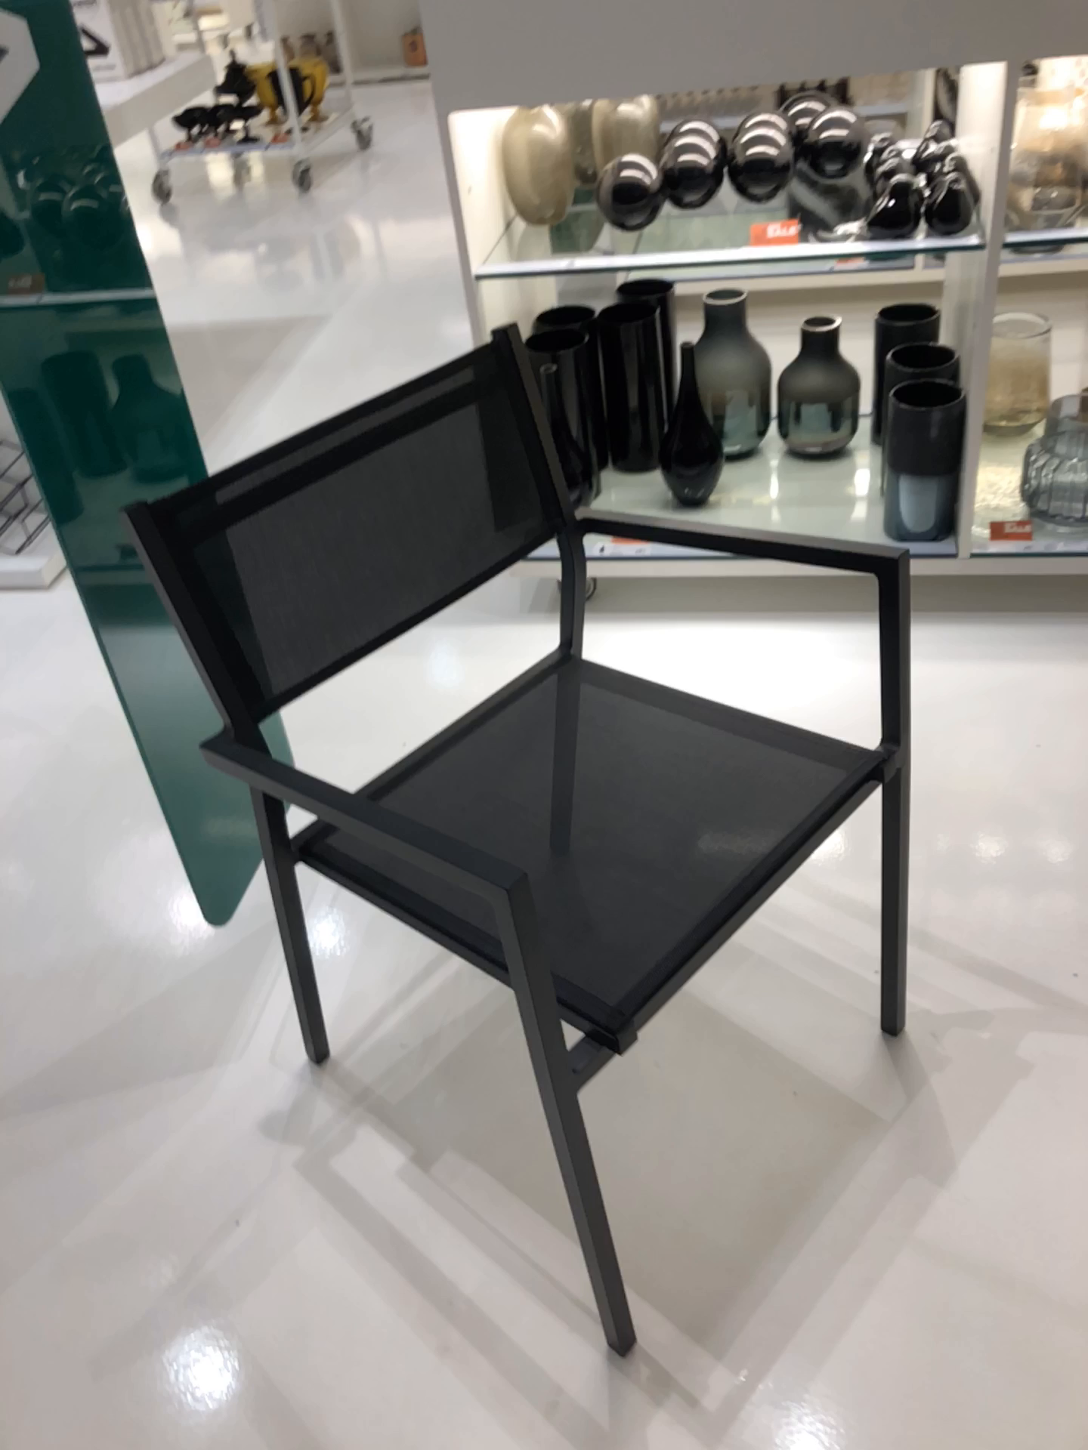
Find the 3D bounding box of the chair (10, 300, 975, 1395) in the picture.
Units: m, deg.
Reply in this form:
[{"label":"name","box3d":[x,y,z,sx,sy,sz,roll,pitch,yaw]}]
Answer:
[{"label":"chair","box3d":[-0.008,0.087,1.256,0.602,0.794,0.572,26,49,37]}]
